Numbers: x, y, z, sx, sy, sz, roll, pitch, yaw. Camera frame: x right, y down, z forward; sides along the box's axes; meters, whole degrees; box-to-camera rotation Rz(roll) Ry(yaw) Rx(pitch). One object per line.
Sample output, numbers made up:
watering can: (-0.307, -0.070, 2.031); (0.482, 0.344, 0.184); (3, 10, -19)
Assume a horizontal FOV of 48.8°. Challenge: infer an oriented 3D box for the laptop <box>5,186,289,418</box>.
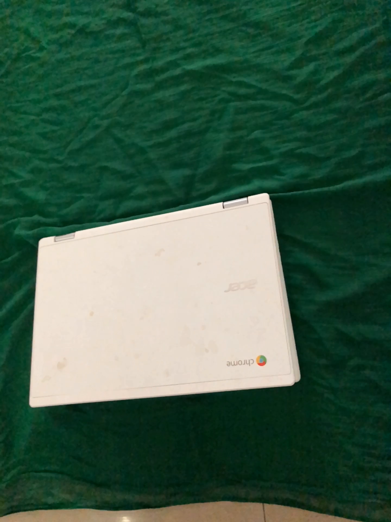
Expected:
laptop: (-0.057, 0.051, 0.461); (0.281, 0.065, 0.193); (-10, 85, 17)
